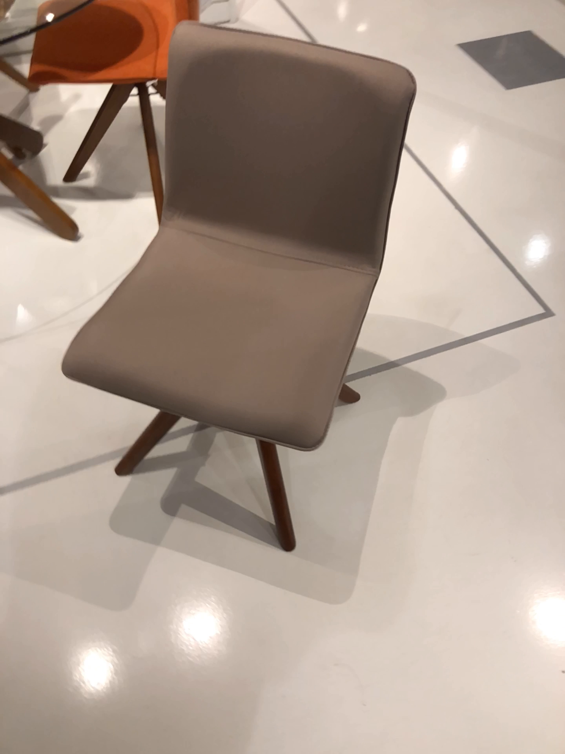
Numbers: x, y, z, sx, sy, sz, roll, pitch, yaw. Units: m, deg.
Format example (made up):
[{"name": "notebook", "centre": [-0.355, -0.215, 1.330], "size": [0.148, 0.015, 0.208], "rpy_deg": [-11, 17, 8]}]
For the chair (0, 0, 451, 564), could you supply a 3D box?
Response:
[{"name": "chair", "centre": [-0.085, -0.122, 1.135], "size": [0.500, 0.805, 0.513], "rpy_deg": [17, 55, 10]}]
